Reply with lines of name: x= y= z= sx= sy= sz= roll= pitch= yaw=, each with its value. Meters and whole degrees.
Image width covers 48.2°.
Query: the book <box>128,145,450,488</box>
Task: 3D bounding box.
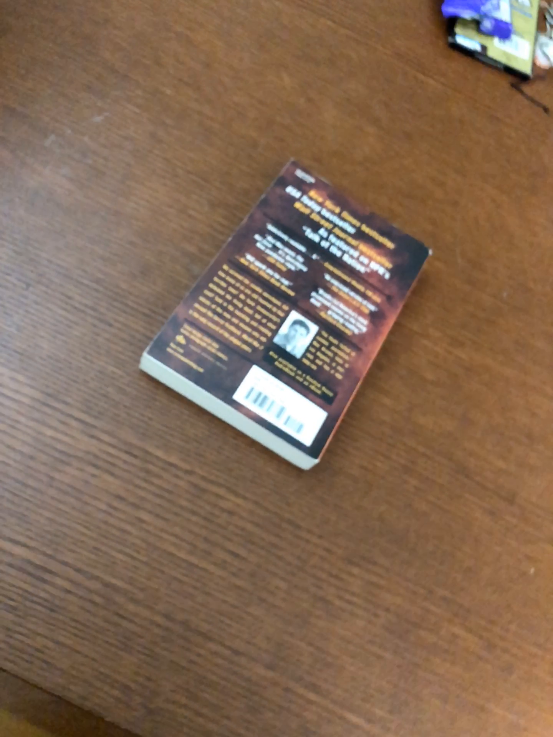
book: x=0.018 y=-0.048 z=0.444 sx=0.140 sy=0.030 sz=0.221 roll=33 pitch=63 yaw=0
